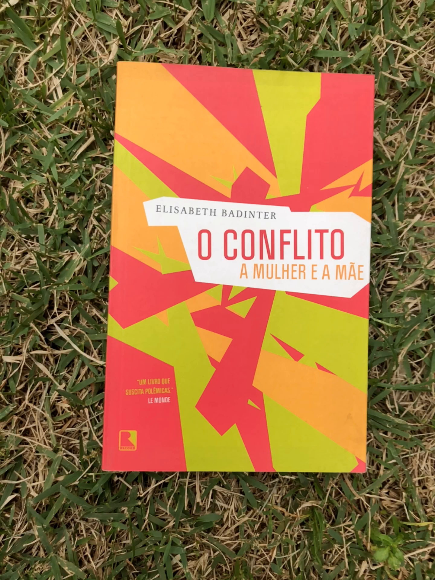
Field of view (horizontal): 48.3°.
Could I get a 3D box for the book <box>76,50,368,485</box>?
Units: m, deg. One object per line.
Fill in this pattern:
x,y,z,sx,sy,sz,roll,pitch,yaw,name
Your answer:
0.003,-0.011,0.238,0.130,0.020,0.200,2,88,-2,book
